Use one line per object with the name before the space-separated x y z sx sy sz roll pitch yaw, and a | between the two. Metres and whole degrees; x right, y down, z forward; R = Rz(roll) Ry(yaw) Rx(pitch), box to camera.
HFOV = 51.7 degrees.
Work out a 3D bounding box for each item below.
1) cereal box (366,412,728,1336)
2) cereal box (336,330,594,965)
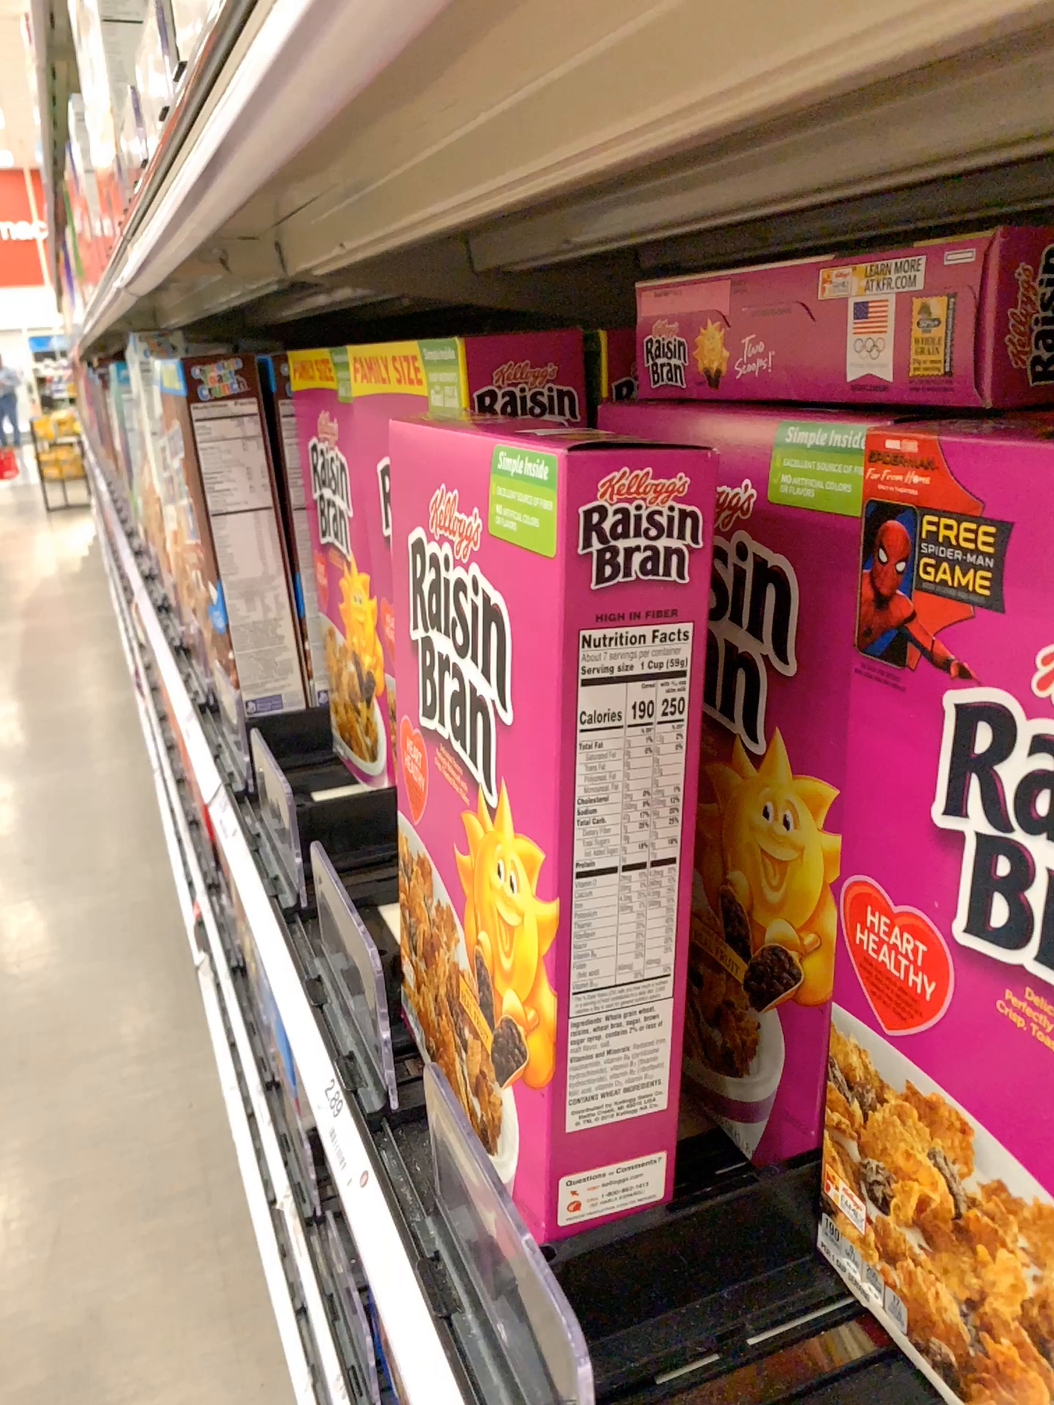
cereal box | -0.008 0.039 0.408 0.050 0.279 0.201 -5 17 -21
cereal box | -0.040 -0.046 0.608 0.060 0.299 0.221 -9 18 -21
